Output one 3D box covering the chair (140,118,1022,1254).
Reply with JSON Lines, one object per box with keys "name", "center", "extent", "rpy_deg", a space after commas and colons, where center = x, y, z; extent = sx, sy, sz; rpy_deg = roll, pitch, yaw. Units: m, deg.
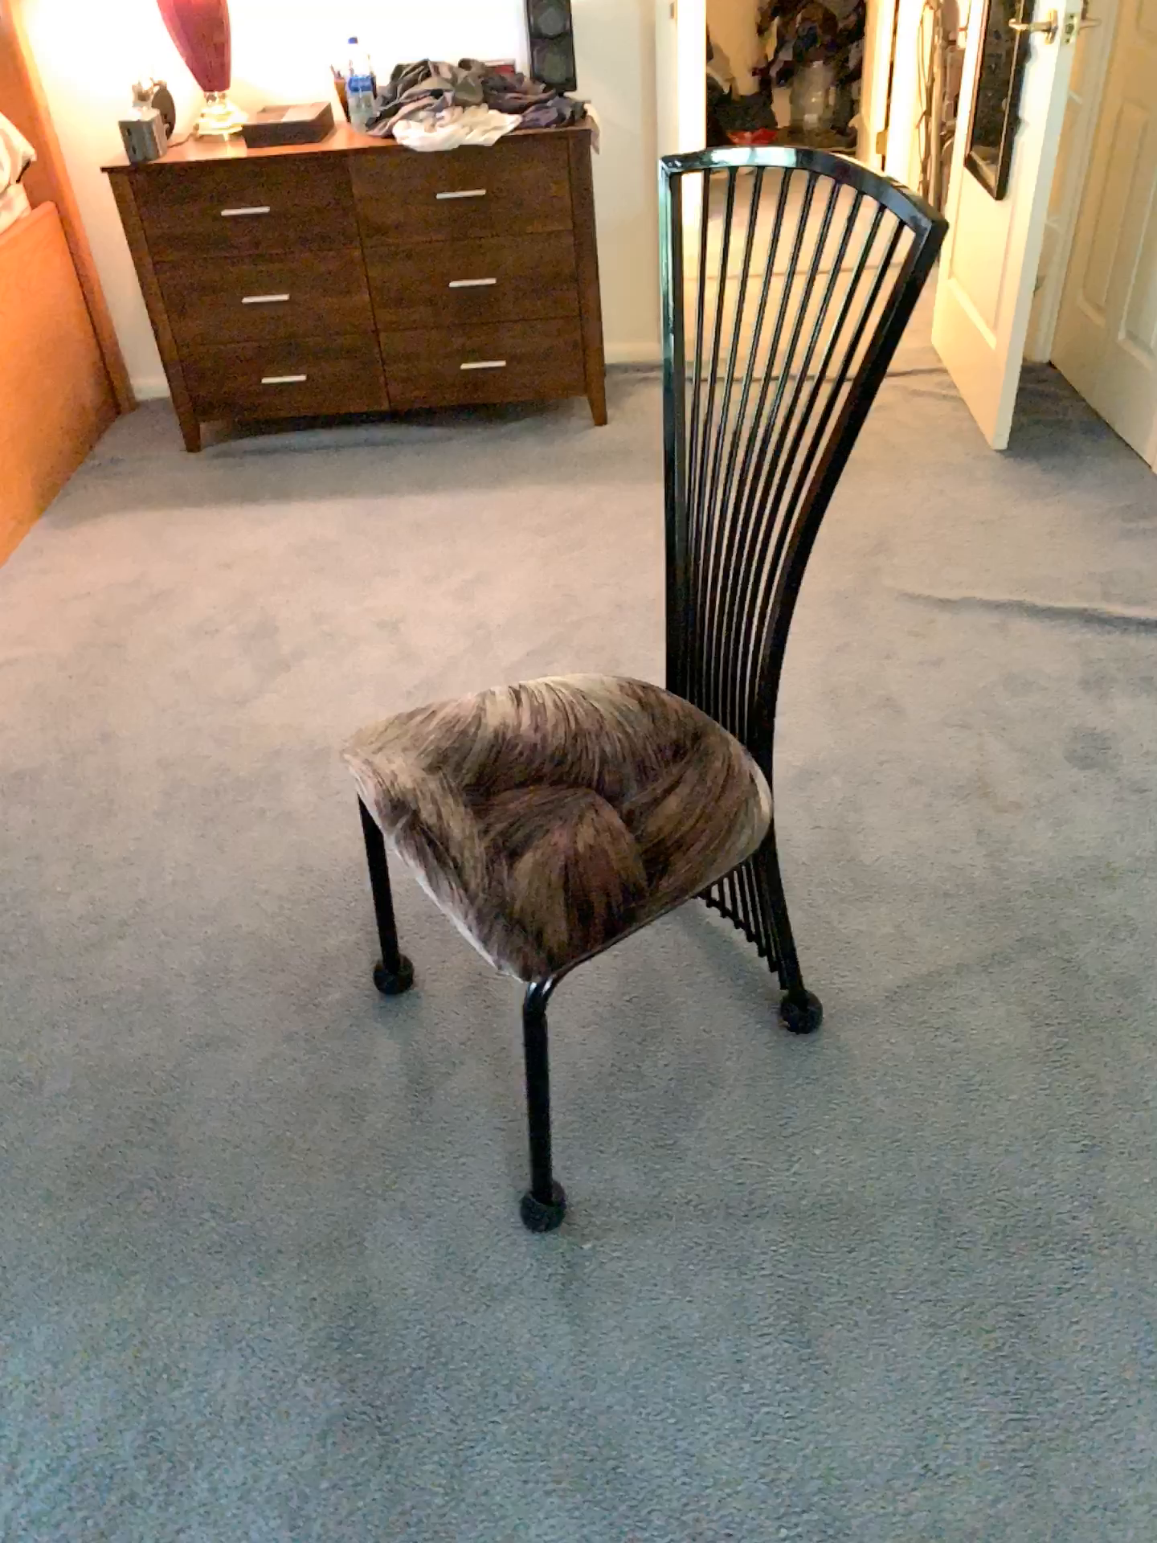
{"name": "chair", "center": [0.007, -0.087, 1.272], "extent": [0.541, 0.974, 0.512], "rpy_deg": [-24, 42, -24]}
